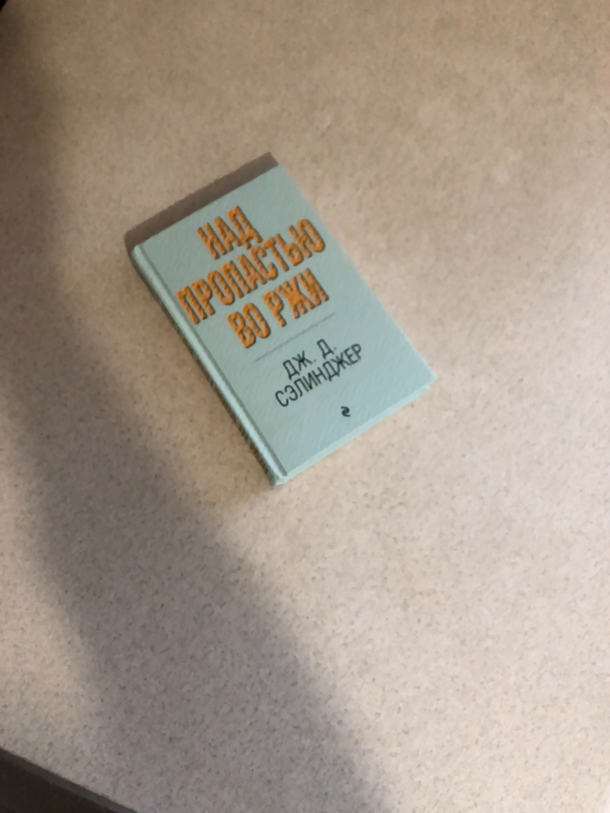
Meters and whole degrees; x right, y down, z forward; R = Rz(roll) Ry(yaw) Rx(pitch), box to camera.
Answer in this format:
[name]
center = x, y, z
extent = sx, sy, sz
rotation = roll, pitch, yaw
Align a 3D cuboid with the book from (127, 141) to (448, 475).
[book]
center = -0.013, -0.064, 0.413
extent = 0.115, 0.020, 0.175
rotation = -32, 77, -7
